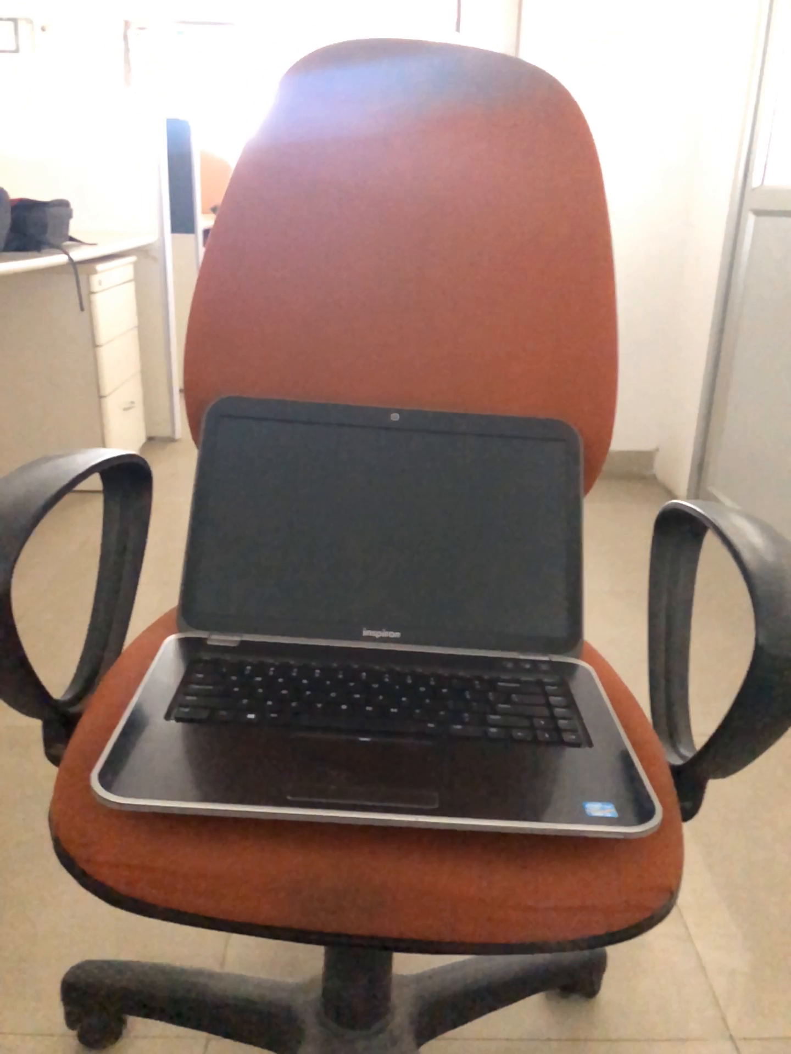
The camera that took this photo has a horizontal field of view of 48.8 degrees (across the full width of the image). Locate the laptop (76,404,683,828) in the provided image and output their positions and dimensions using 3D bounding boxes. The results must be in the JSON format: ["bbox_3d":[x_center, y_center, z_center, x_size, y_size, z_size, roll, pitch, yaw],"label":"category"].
[{"bbox_3d":[-0.012,0.037,0.697,0.352,0.173,0.352,3,21,1],"label":"laptop"}]
